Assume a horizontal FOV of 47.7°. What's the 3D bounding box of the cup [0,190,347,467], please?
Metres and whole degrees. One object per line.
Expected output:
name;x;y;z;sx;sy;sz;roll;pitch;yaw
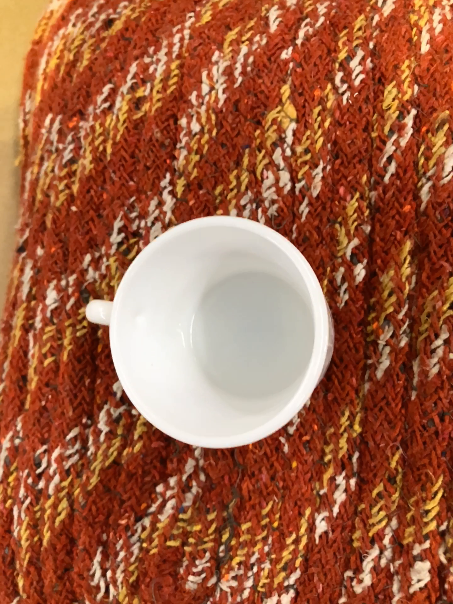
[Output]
cup;-0.013;0.006;0.160;0.090;0.060;0.060;7;86;17
